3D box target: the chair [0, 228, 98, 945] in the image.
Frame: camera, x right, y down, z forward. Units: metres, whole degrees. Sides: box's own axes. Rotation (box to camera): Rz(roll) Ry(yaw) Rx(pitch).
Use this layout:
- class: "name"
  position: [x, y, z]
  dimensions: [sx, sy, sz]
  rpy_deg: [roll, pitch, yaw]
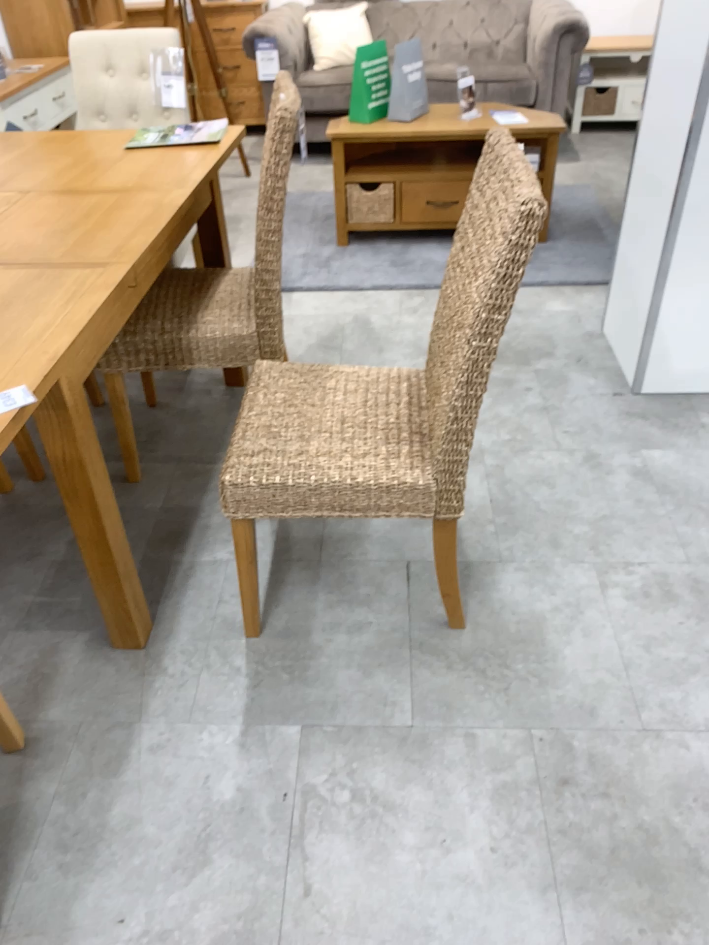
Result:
- class: "chair"
  position: [-0.737, 0.225, 0.948]
  dimensions: [0.512, 0.903, 0.401]
  rpy_deg: [-7, 38, -5]

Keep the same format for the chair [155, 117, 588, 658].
- class: "chair"
  position: [0.042, -0.130, 1.416]
  dimensions: [0.562, 0.903, 0.492]
  rpy_deg: [-1, 38, 2]

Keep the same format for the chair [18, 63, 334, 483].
- class: "chair"
  position: [-0.371, -0.484, 1.859]
  dimensions: [0.552, 0.893, 0.441]
  rpy_deg: [-5, 38, -3]
